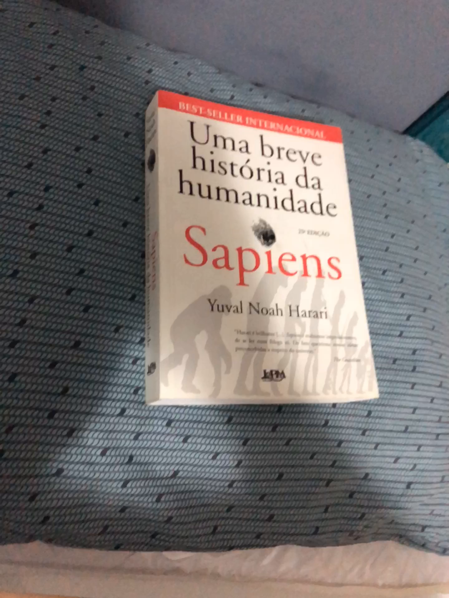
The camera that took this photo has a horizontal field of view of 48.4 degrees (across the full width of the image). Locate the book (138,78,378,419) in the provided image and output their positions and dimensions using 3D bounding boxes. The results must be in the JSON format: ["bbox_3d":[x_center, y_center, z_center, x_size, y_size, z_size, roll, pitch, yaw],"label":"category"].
[{"bbox_3d":[0.019,-0.037,0.376,0.161,0.040,0.240,4,70,-22],"label":"book"}]
